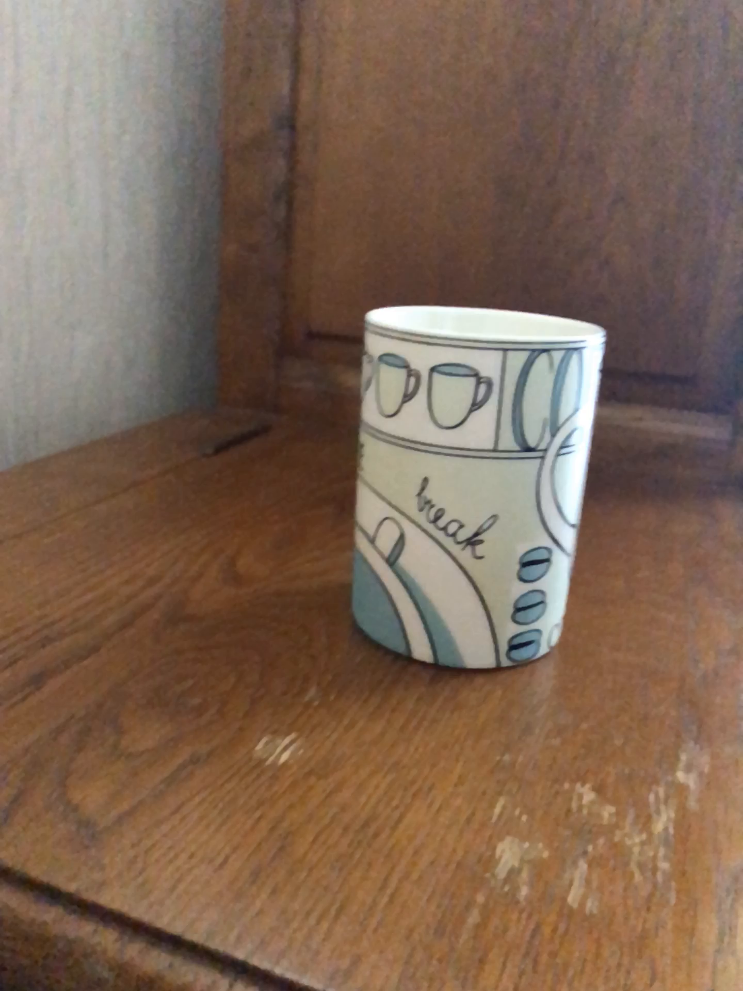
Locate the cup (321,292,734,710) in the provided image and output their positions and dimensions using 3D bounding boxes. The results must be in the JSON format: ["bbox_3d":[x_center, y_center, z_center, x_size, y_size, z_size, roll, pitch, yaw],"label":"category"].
[{"bbox_3d":[0.055,-0.012,0.276,0.080,0.100,0.121,16,21,33],"label":"cup"}]
